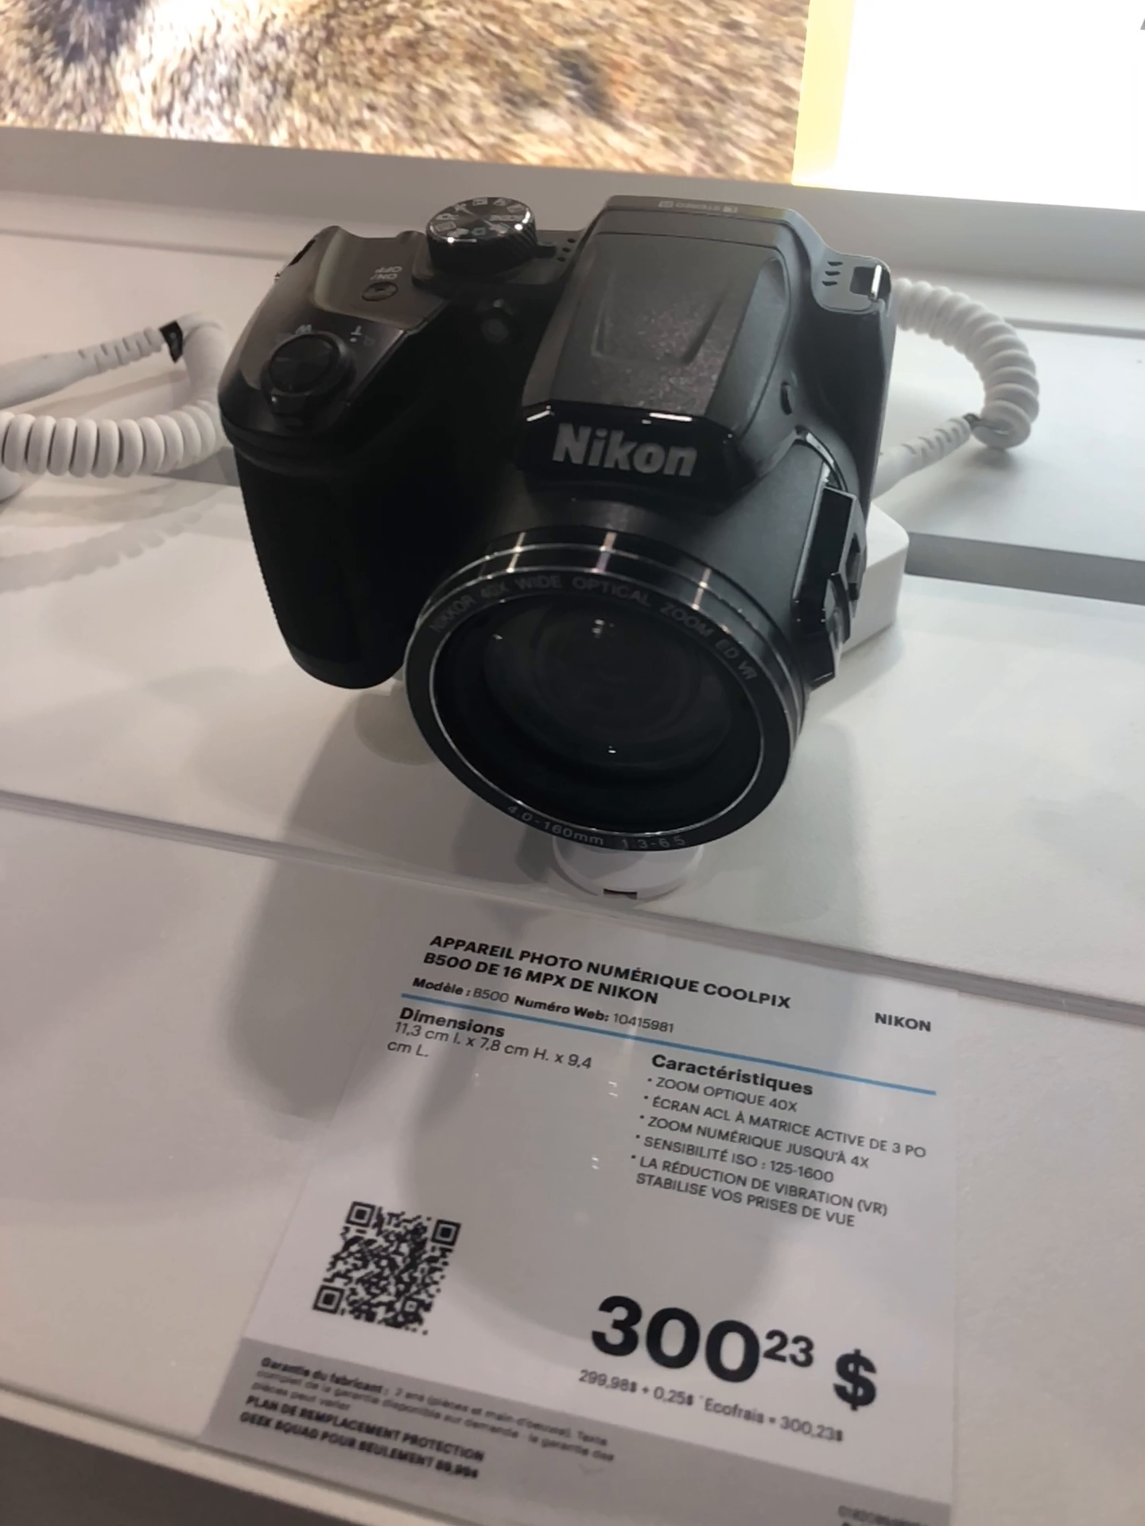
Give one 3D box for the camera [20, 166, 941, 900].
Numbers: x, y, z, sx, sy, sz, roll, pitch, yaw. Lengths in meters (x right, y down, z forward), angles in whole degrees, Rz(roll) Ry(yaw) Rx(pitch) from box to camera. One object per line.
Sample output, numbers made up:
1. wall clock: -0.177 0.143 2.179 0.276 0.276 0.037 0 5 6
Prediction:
1. camera: -0.005 -0.042 0.205 0.111 0.069 0.085 9 44 11
